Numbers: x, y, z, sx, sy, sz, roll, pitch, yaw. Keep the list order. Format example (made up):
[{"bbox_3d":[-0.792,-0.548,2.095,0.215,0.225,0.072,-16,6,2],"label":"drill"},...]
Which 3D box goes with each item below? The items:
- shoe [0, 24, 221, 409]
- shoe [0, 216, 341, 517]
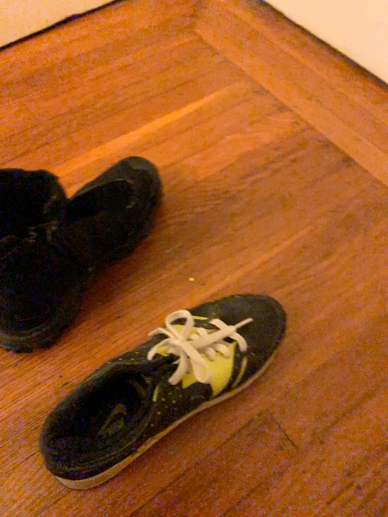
[{"bbox_3d":[-0.121,-0.038,0.441,0.160,0.239,0.311,27,64,15],"label":"shoe"},{"bbox_3d":[-0.020,0.103,0.374,0.290,0.100,0.120,-36,66,-18],"label":"shoe"}]
